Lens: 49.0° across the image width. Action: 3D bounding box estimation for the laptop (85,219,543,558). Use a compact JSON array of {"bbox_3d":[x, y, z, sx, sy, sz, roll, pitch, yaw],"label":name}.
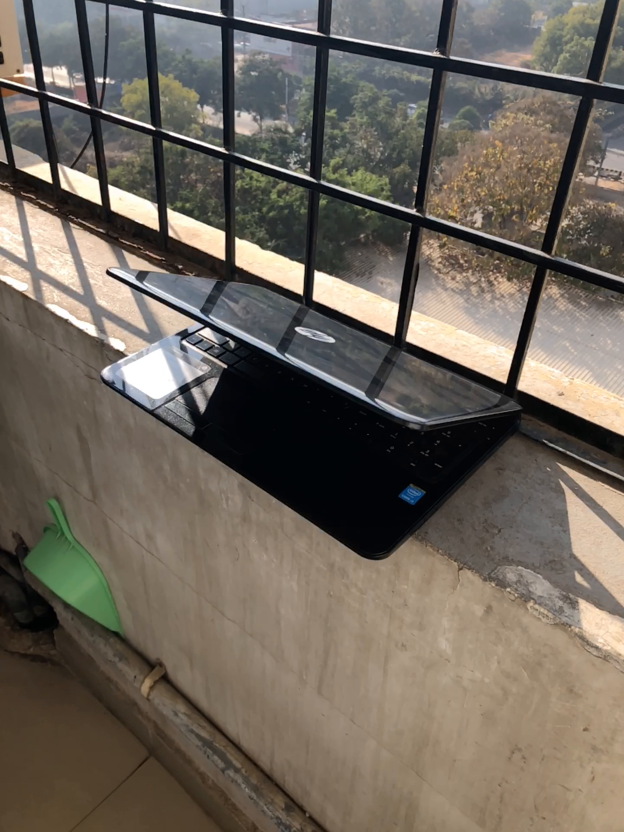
[{"bbox_3d":[-0.005,-0.061,0.676,0.364,0.113,0.245,29,42,31],"label":"laptop"}]
